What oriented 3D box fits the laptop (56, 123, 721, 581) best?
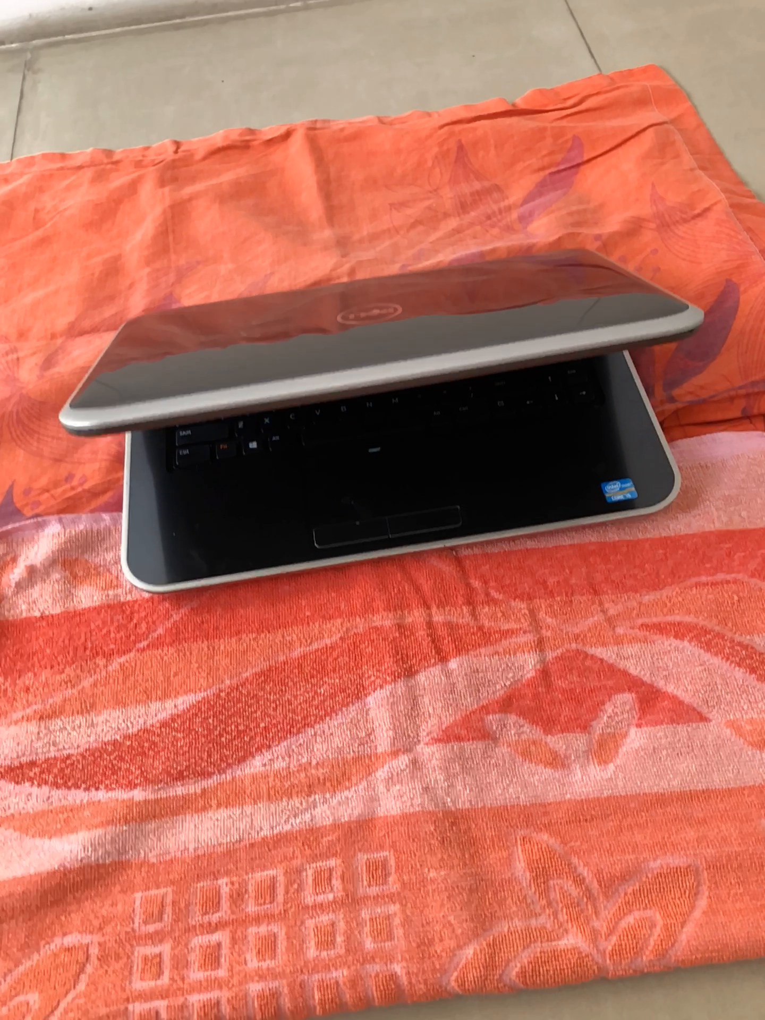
[{"bbox_3d":[-0.007,-0.110,0.558,0.345,0.129,0.242,-8,55,-2],"label":"laptop"}]
